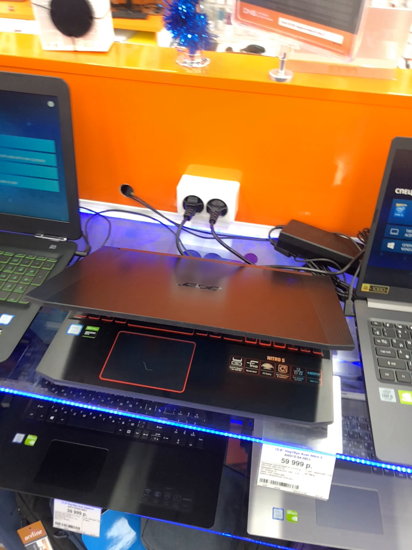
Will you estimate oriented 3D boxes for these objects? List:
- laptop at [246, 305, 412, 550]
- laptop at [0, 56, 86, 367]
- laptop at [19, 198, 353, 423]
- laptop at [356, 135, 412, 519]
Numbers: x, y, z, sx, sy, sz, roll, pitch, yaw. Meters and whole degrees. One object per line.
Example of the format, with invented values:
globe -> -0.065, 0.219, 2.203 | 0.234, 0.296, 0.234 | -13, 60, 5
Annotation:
laptop -> 0.296, 0.249, 0.728 | 0.404, 0.221, 0.297 | 7, 41, 7
laptop -> -0.428, -0.113, 0.636 | 0.414, 0.250, 0.311 | 8, 41, 7
laptop -> -0.007, 0.027, 0.600 | 0.358, 0.103, 0.249 | 8, 41, 6
laptop -> 0.391, 0.032, 0.512 | 0.342, 0.226, 0.313 | 7, 42, 6
